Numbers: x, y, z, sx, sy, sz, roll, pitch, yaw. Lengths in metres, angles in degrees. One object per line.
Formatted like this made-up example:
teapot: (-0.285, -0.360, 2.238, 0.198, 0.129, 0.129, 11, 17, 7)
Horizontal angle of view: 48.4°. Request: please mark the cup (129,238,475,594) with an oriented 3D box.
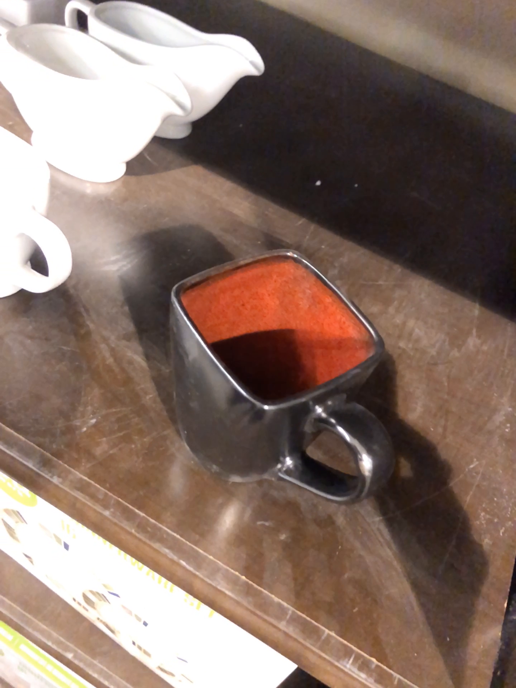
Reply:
cup: (0.012, 0.028, 0.280, 0.095, 0.083, 0.123, -21, 58, -32)
